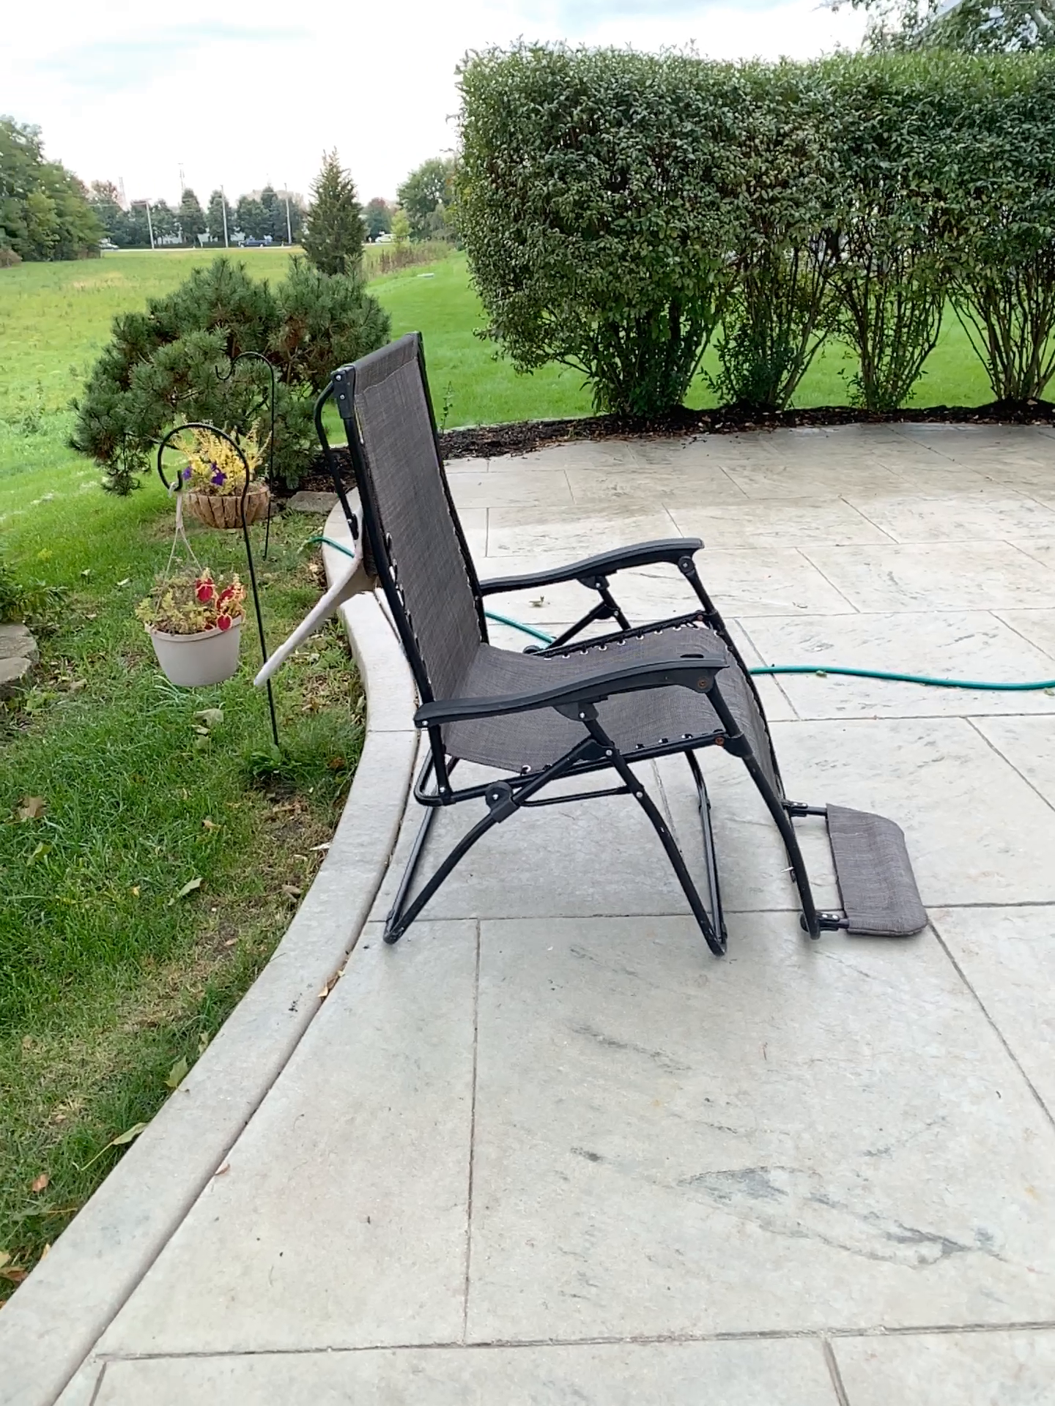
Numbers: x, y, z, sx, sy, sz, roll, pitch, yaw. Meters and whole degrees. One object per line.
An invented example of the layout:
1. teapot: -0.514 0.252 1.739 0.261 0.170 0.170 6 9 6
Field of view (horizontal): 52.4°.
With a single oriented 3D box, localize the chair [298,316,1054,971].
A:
1. chair: 0.264 -0.165 2.097 1.144 1.057 0.747 1 23 4
